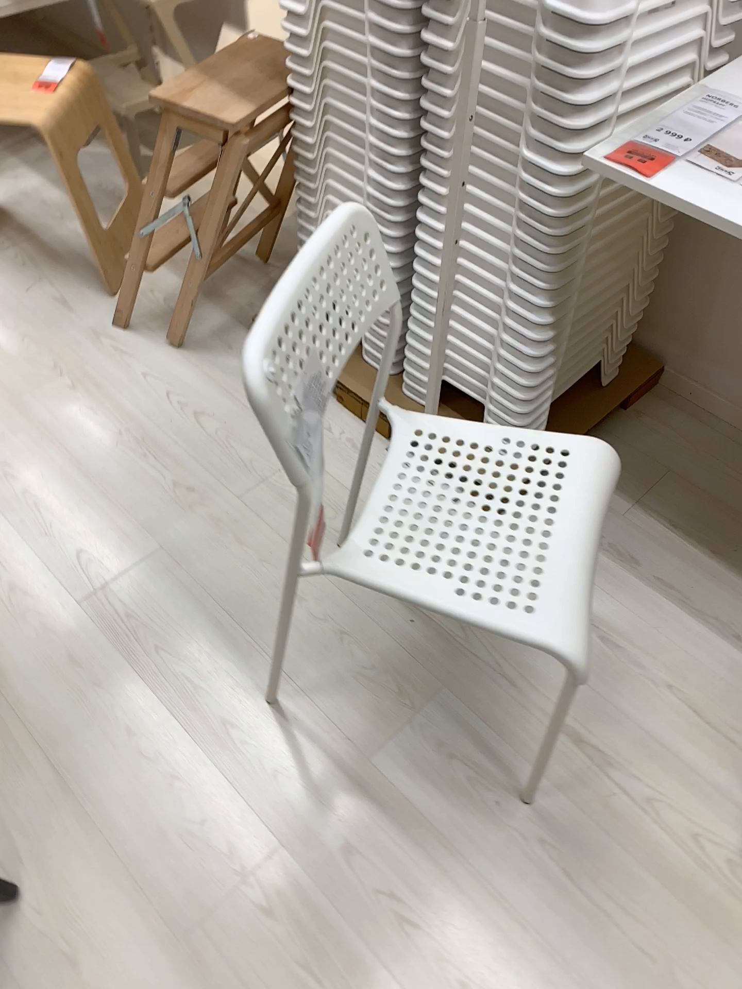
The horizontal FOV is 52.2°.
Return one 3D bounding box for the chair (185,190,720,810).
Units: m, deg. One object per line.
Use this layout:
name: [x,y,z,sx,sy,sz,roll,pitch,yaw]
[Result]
chair: [0.109,0.051,1.119,0.500,0.746,0.425,15,51,11]
